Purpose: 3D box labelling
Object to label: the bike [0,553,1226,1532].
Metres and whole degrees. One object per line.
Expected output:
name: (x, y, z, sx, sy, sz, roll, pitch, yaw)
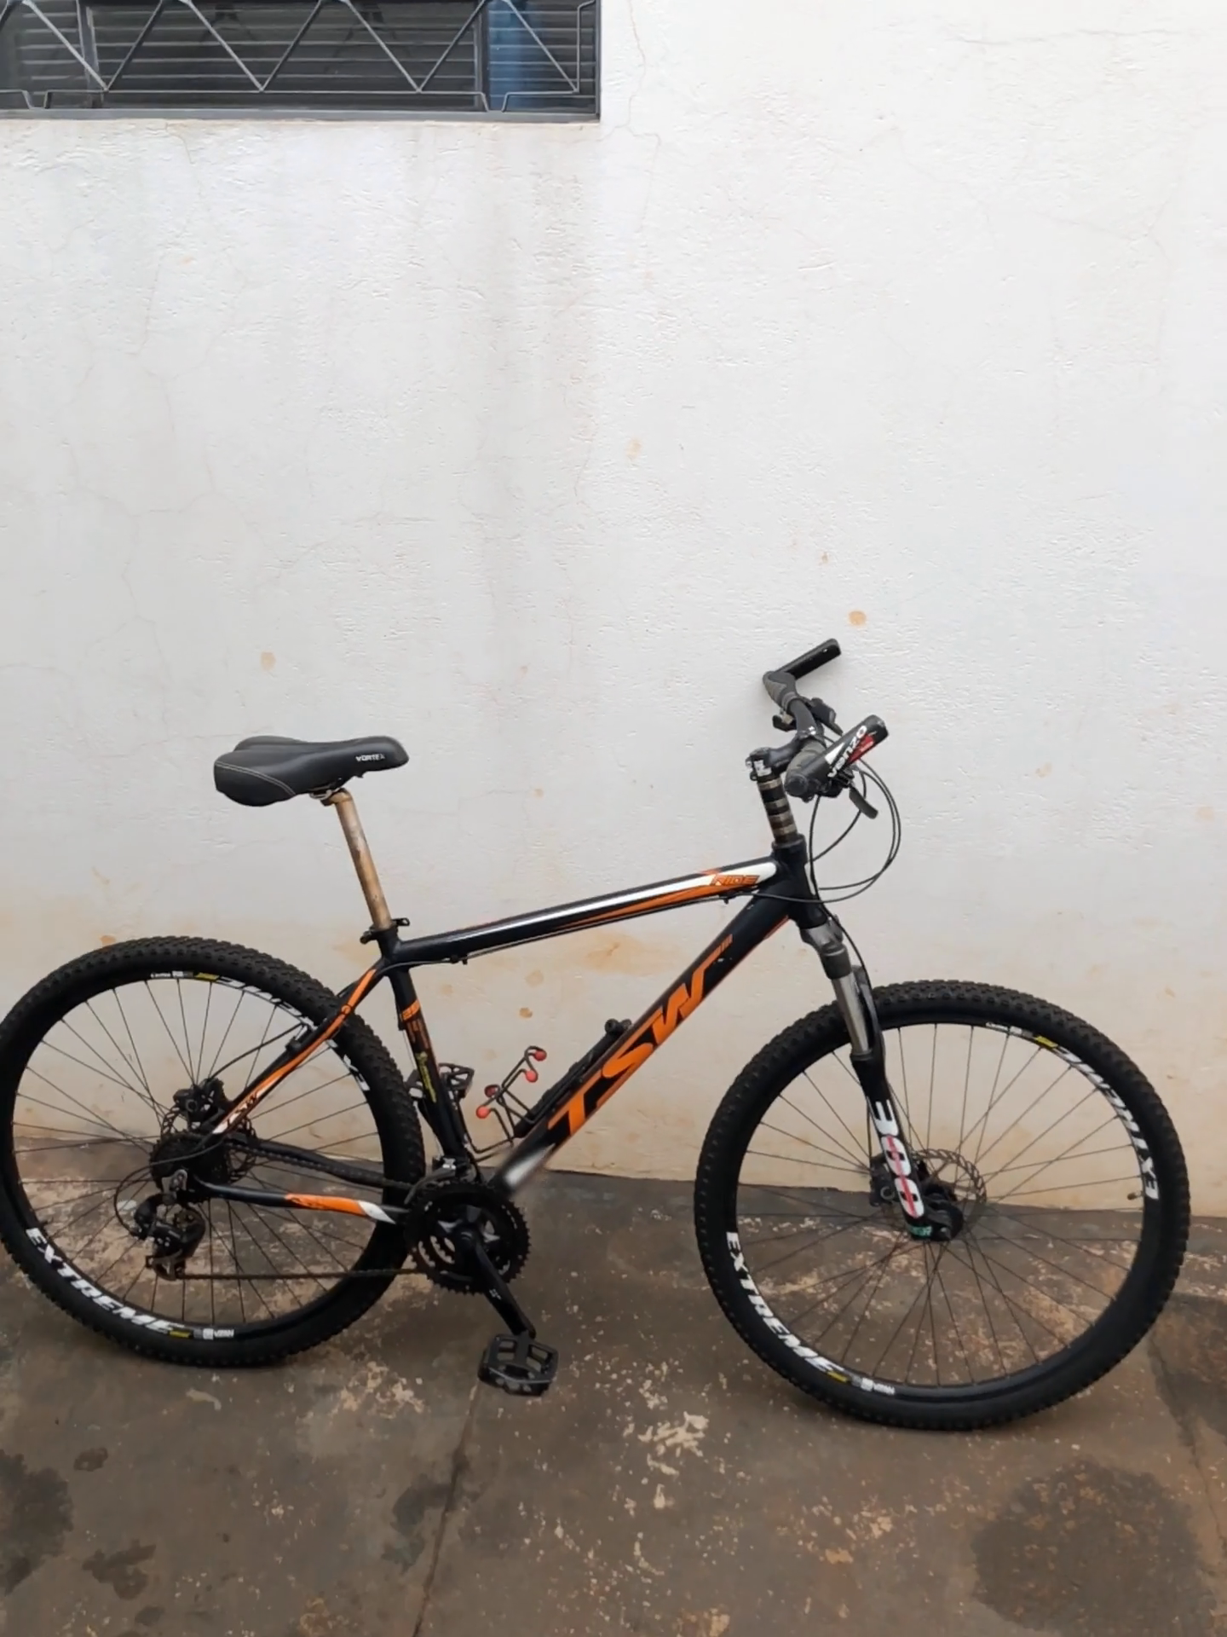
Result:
bike: (-0.074, 0.258, 1.926, 1.762, 1.085, 0.726, 2, 24, 4)
